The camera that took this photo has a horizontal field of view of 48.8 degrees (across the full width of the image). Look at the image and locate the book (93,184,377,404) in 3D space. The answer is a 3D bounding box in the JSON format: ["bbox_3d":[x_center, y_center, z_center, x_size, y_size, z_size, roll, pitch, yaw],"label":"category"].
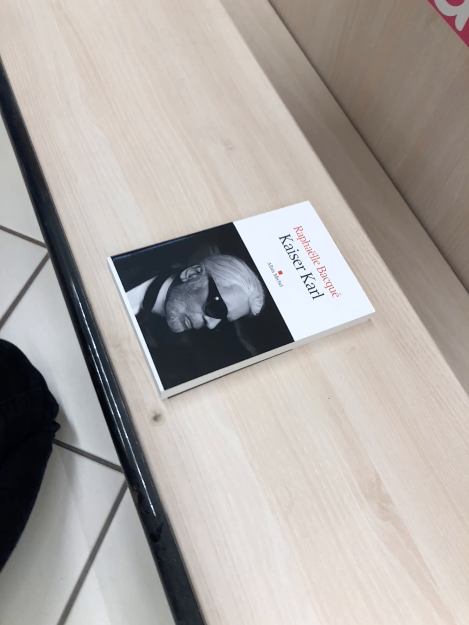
[{"bbox_3d":[0.001,-0.028,0.485,0.221,0.030,0.150,-20,70,-19],"label":"book"}]
